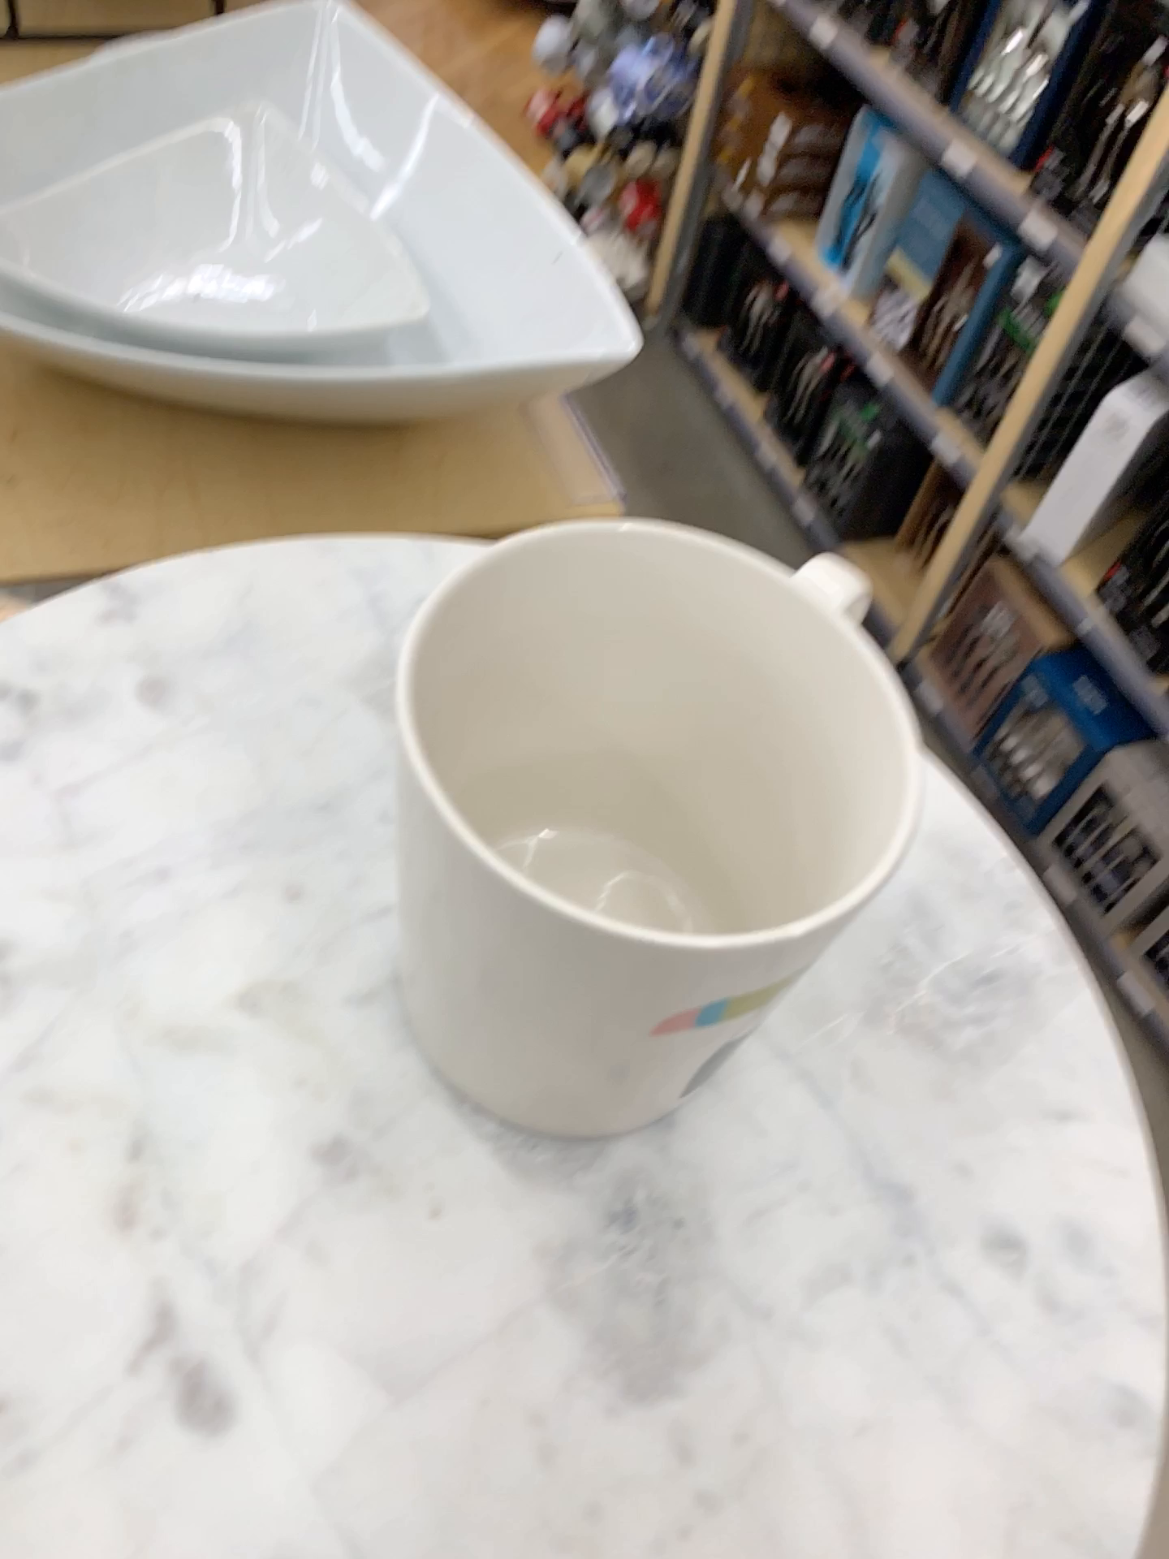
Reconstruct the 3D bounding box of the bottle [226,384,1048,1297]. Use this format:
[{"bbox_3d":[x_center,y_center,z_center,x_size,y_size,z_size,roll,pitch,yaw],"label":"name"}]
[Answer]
[{"bbox_3d":[0.012,0.009,0.272,0.104,0.107,0.143,31,51,12],"label":"bottle"}]
